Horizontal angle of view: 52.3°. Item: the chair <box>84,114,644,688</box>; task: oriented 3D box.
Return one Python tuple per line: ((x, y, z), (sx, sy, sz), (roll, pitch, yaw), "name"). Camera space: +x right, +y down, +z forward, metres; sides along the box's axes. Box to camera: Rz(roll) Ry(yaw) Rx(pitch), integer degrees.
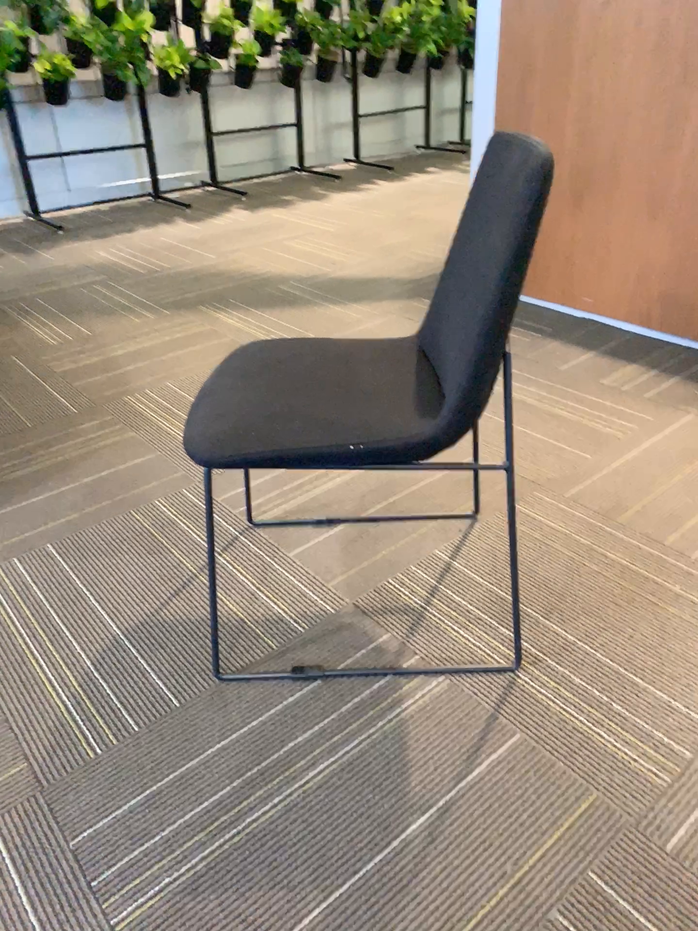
((0.028, -0.107, 1.125), (0.570, 0.745, 0.493), (-2, 31, 2), "chair")
